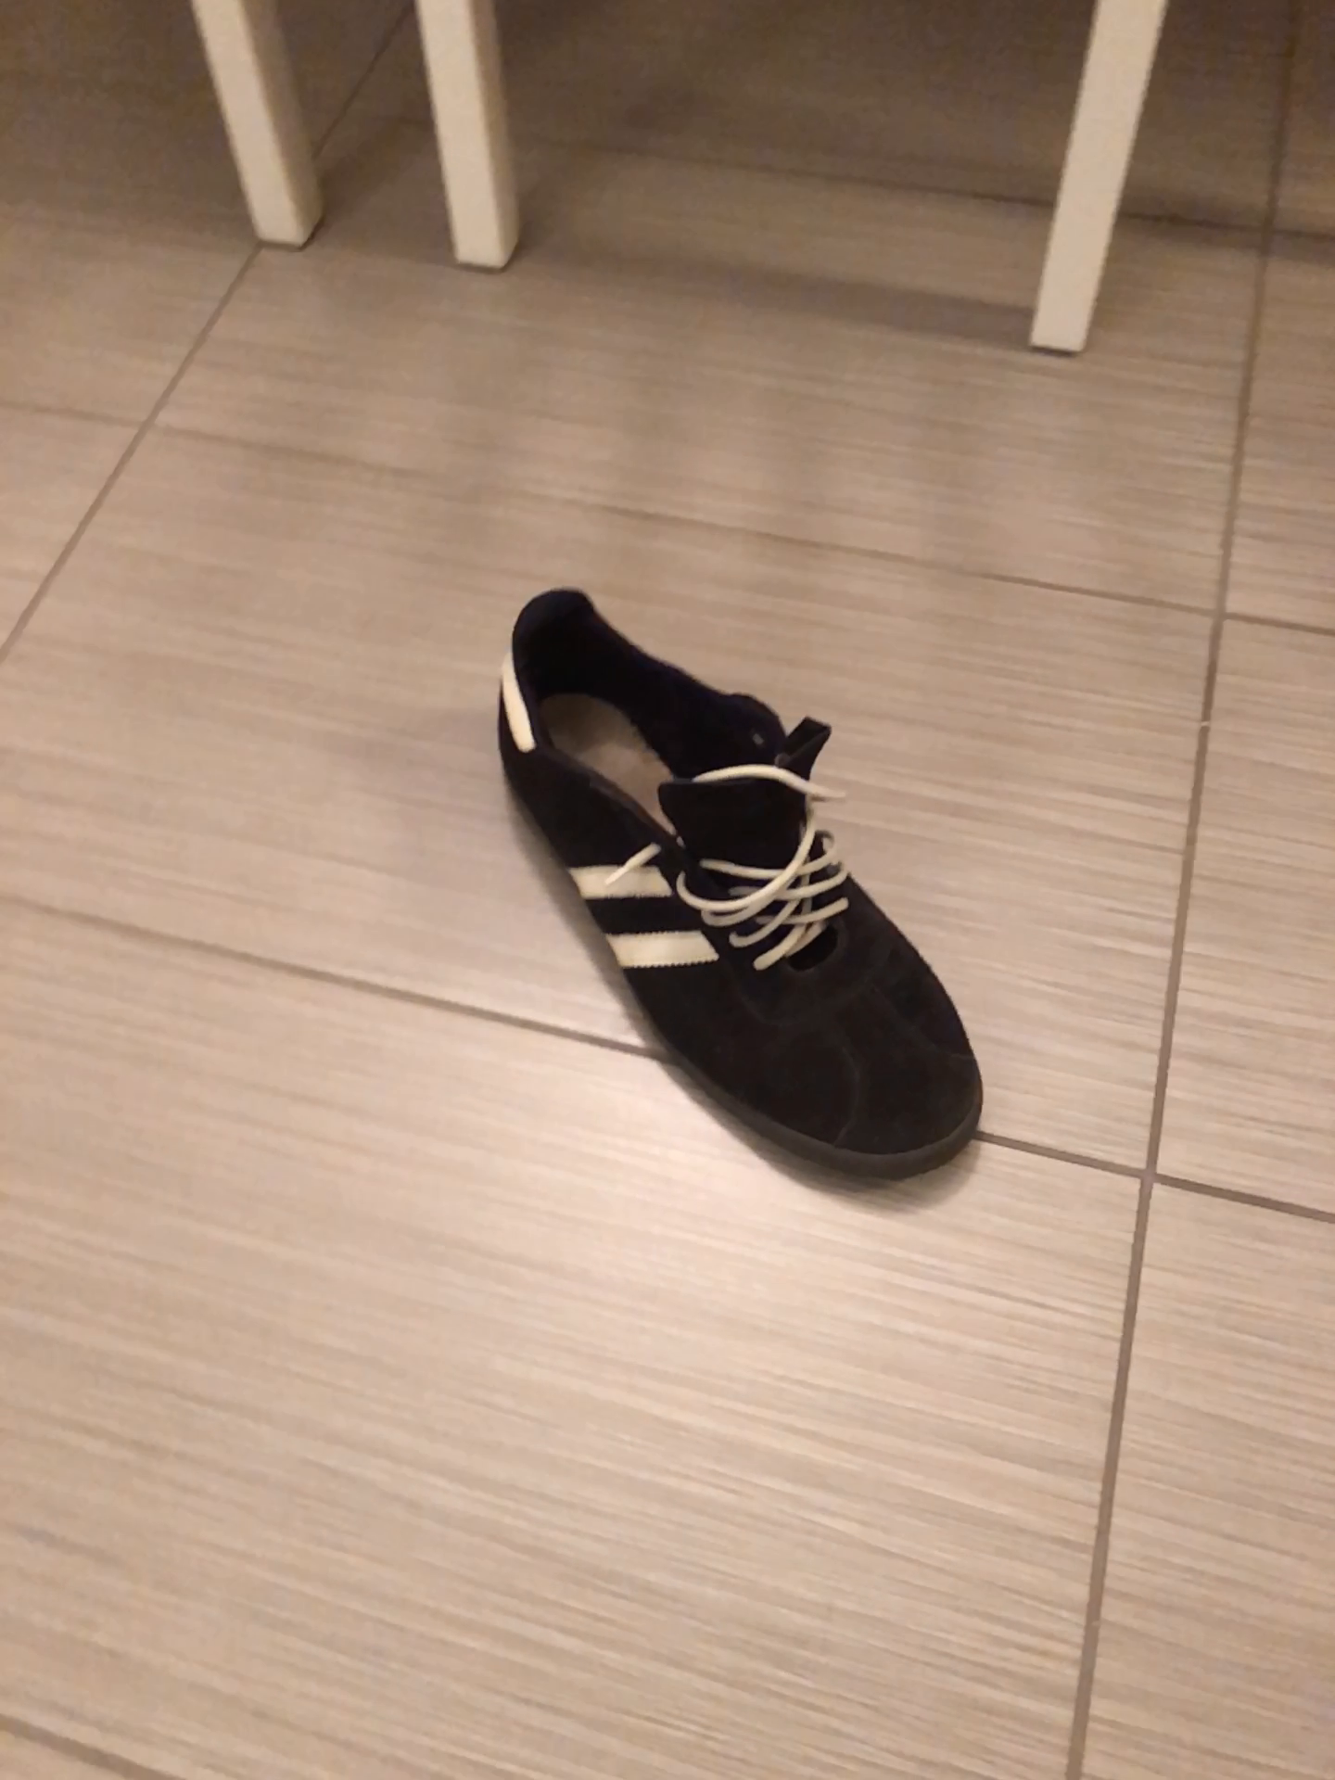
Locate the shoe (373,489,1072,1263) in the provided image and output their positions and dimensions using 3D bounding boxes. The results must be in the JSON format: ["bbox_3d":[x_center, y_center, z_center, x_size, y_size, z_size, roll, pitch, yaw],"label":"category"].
[{"bbox_3d":[0.012,-0.014,0.624,0.110,0.120,0.311,-33,63,-14],"label":"shoe"}]
